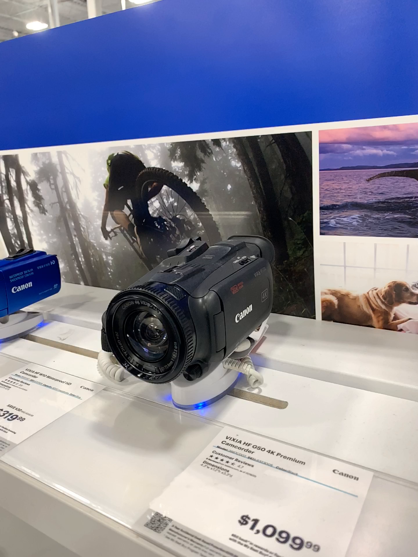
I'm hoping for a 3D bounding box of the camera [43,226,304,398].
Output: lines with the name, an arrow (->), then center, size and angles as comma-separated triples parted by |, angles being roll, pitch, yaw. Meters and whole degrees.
camera -> -0.013, 0.008, 0.373 | 0.132, 0.069, 0.200 | 7, 18, 28
